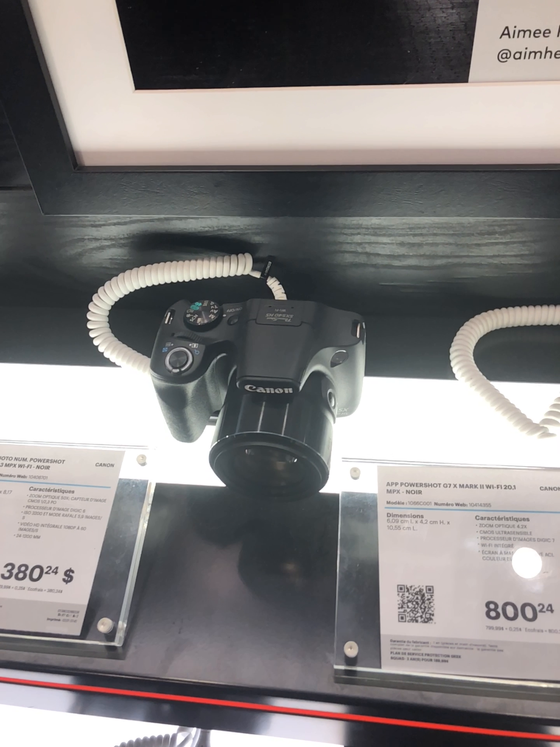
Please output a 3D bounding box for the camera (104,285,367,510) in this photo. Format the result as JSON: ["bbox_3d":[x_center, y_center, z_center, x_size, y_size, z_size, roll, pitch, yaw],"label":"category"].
[{"bbox_3d":[-0.016,0.014,0.344,0.122,0.099,0.071,2,44,7],"label":"camera"}]
